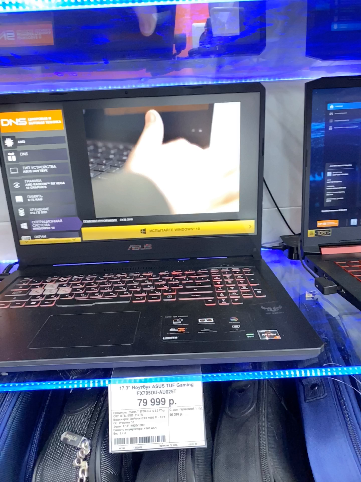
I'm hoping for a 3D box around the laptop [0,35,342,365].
[{"bbox_3d":[-0.073,-0.055,0.446,0.397,0.265,0.270,-3,15,0],"label":"laptop"}]
